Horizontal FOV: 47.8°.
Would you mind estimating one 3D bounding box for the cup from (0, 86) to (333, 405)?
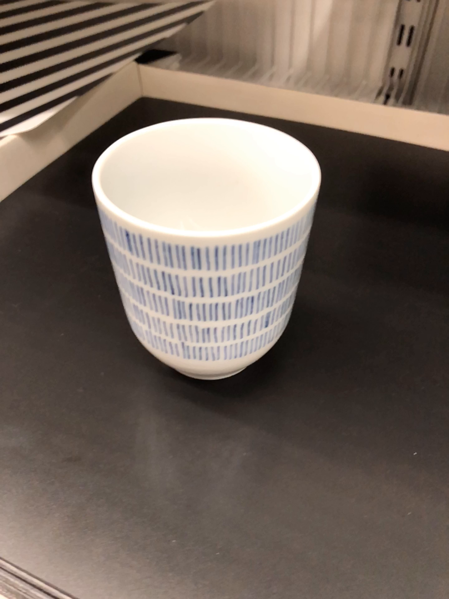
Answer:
[{"bbox_3d":[-0.014,-0.023,0.181,0.080,0.070,0.070,16,45,17],"label":"cup"}]
